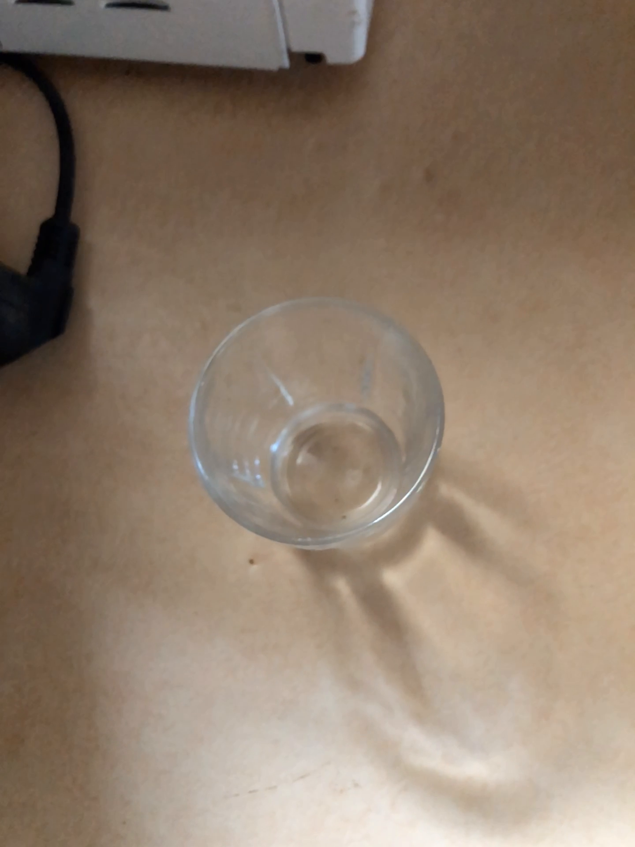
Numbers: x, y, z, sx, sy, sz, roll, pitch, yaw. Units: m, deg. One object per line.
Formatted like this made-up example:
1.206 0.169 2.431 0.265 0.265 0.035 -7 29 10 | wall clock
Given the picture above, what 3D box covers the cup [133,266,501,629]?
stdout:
0.002 0.014 0.226 0.070 0.080 0.070 -2 73 6 | cup
